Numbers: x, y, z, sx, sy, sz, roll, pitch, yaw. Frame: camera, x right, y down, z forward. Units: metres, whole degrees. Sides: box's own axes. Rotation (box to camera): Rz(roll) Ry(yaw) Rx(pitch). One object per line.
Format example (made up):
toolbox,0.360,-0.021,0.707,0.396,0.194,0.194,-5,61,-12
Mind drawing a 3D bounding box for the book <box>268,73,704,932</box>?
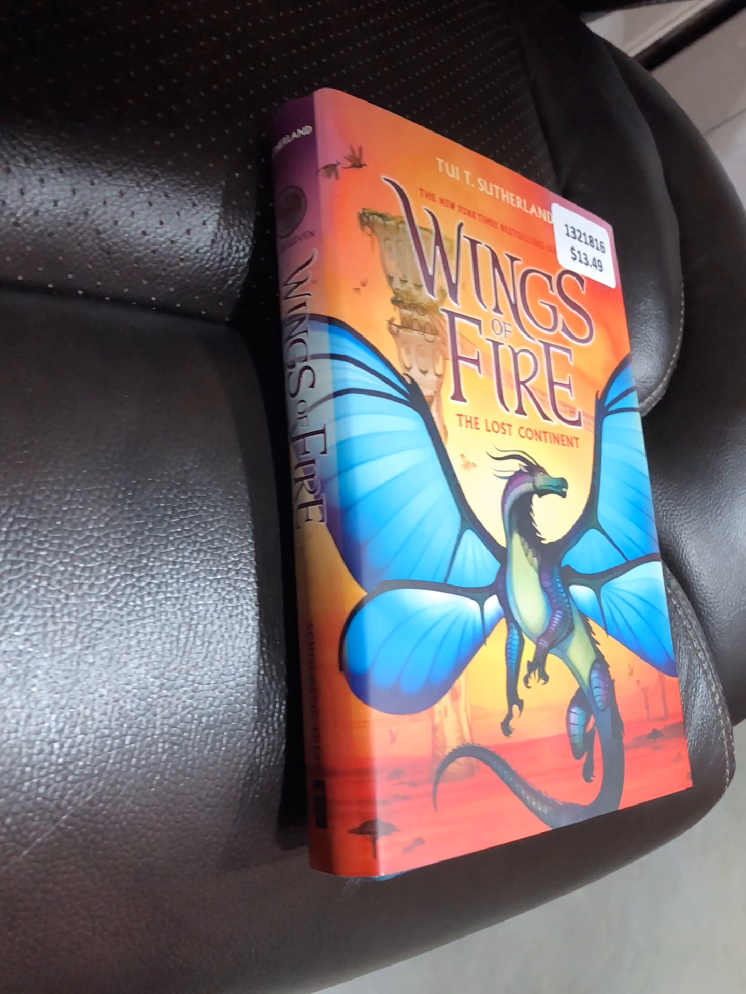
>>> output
book,0.040,0.000,0.266,0.148,0.030,0.218,7,75,-40
